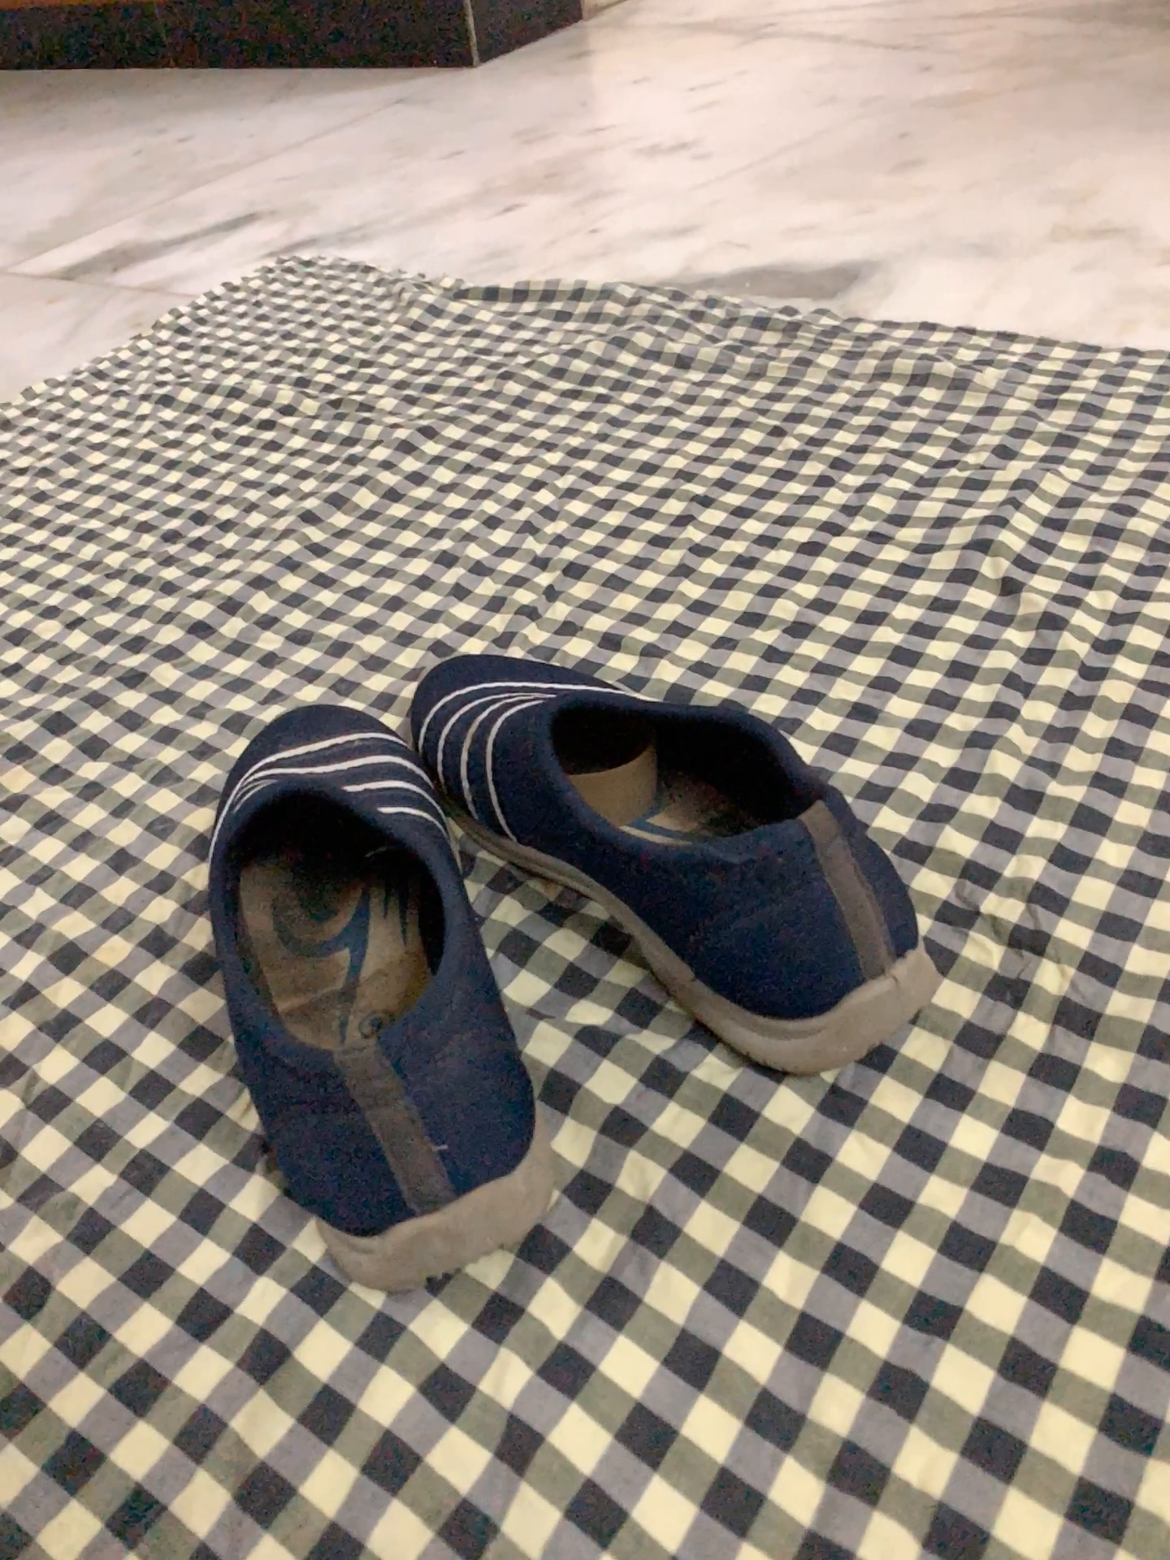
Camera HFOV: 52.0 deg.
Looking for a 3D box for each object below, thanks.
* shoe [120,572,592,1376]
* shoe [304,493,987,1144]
[{"bbox_3d":[-0.088,0.042,0.406,0.090,0.099,0.252,-18,41,-10],"label":"shoe"},{"bbox_3d":[0.007,-0.006,0.427,0.090,0.089,0.252,-30,45,-23],"label":"shoe"}]
